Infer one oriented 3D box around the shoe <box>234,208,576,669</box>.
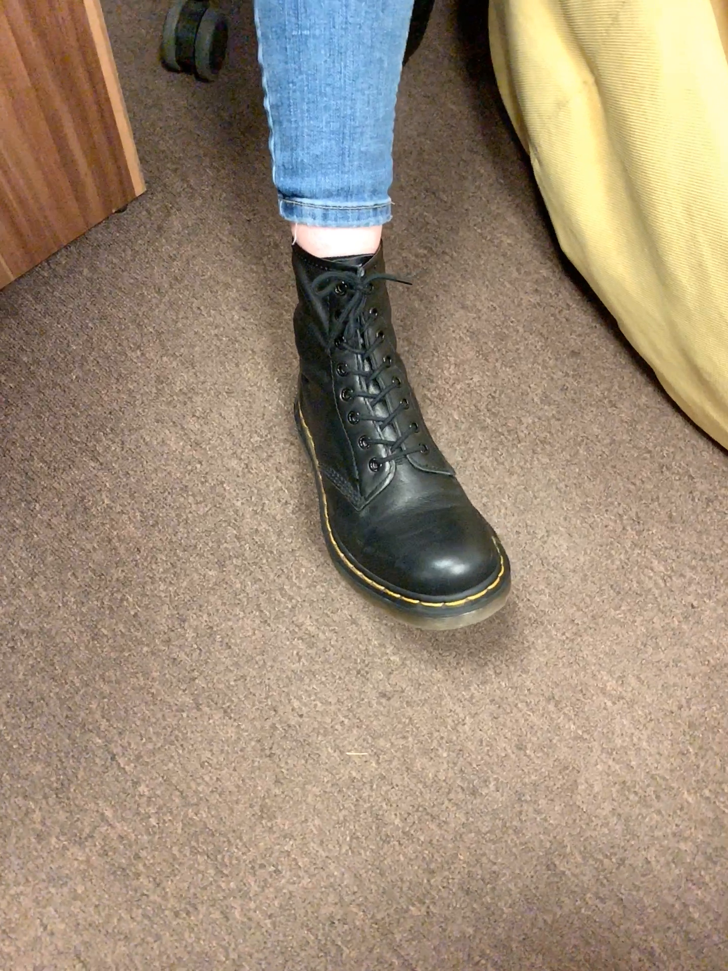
[{"bbox_3d":[0.008,-0.052,0.510,0.120,0.150,0.290,-14,44,-11],"label":"shoe"}]
